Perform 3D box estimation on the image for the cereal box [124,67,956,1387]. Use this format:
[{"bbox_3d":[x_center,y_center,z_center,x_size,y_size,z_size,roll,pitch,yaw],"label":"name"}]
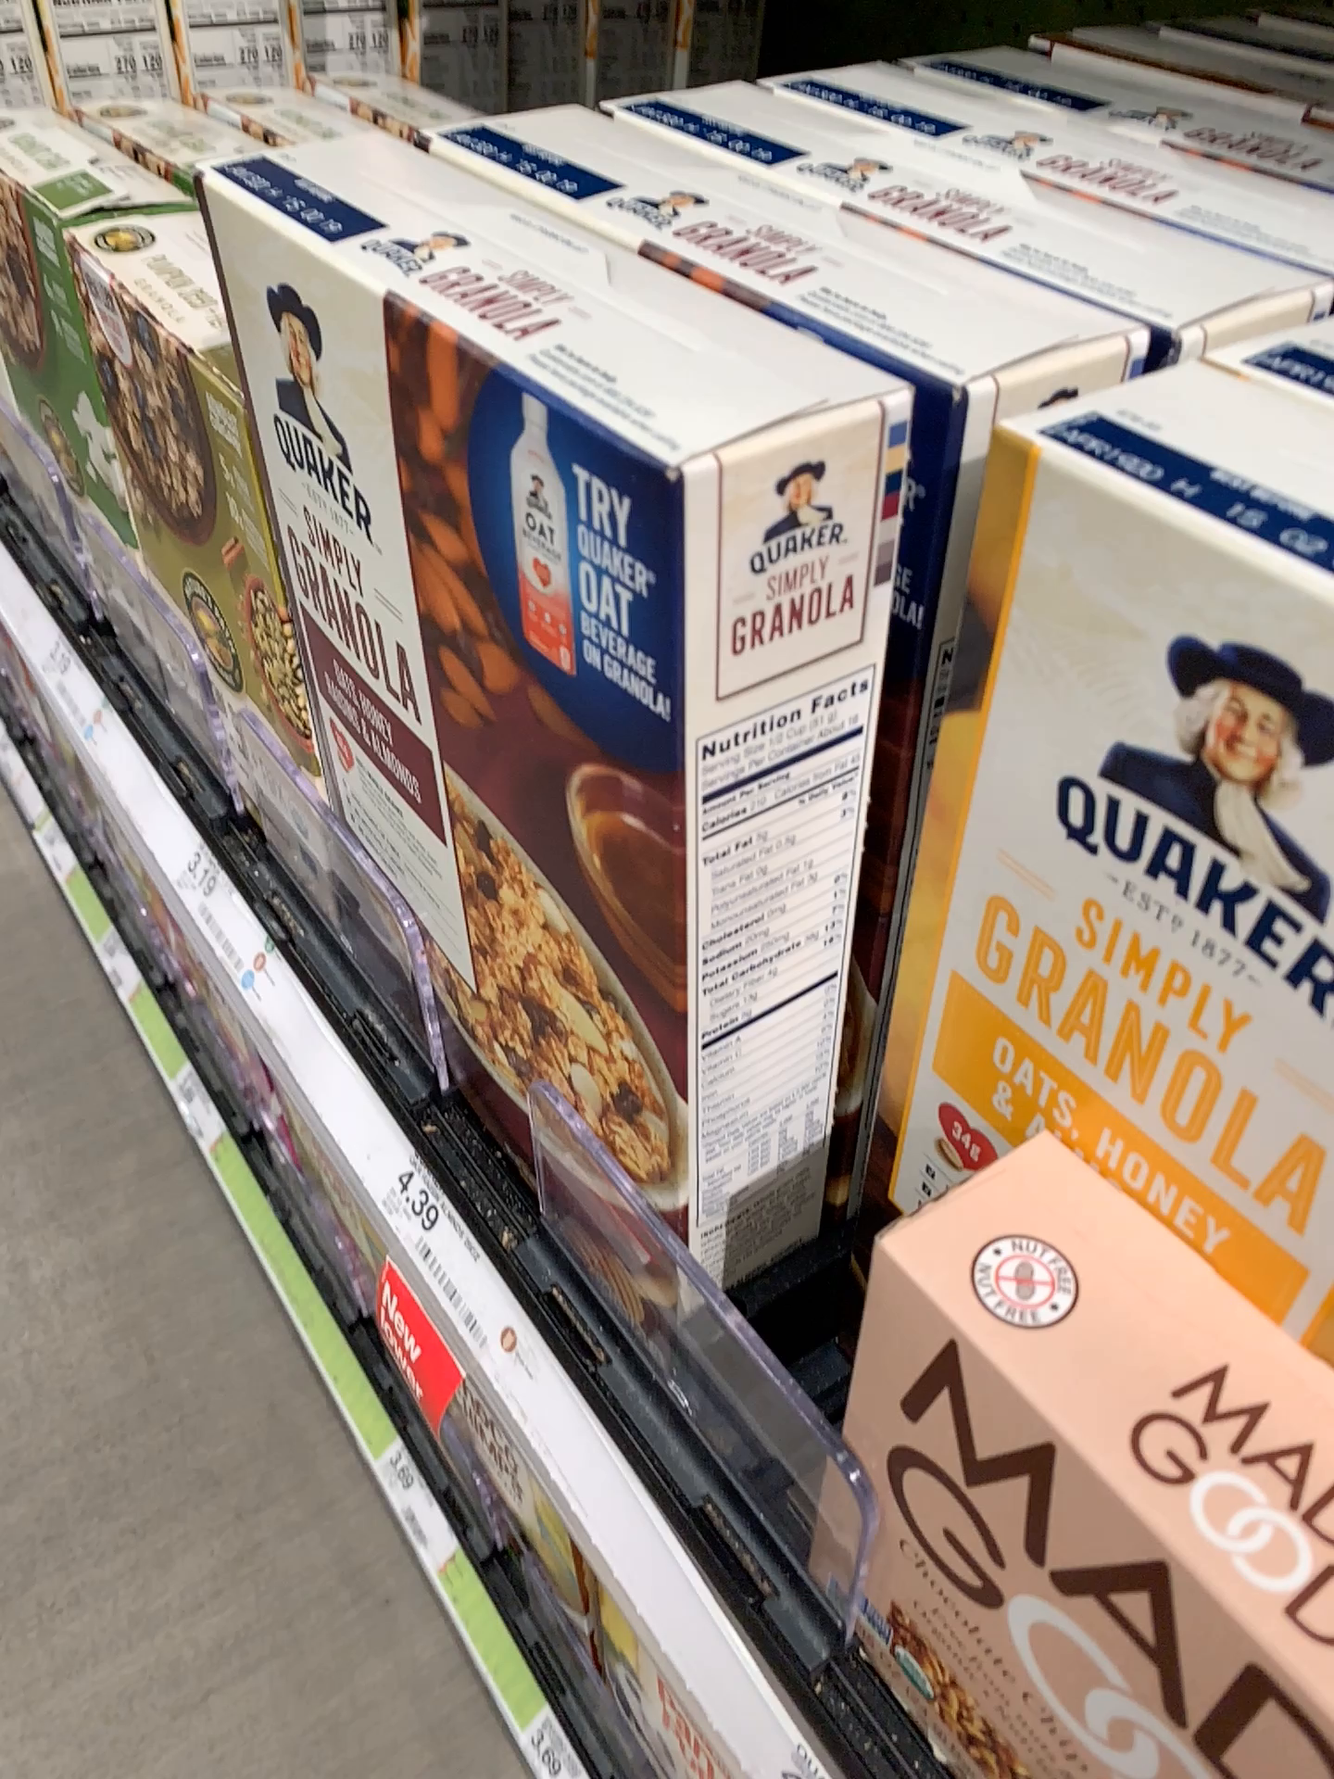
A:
[{"bbox_3d":[-0.035,-0.031,0.322,0.060,0.249,0.181,-25,48,-25],"label":"cereal box"}]
